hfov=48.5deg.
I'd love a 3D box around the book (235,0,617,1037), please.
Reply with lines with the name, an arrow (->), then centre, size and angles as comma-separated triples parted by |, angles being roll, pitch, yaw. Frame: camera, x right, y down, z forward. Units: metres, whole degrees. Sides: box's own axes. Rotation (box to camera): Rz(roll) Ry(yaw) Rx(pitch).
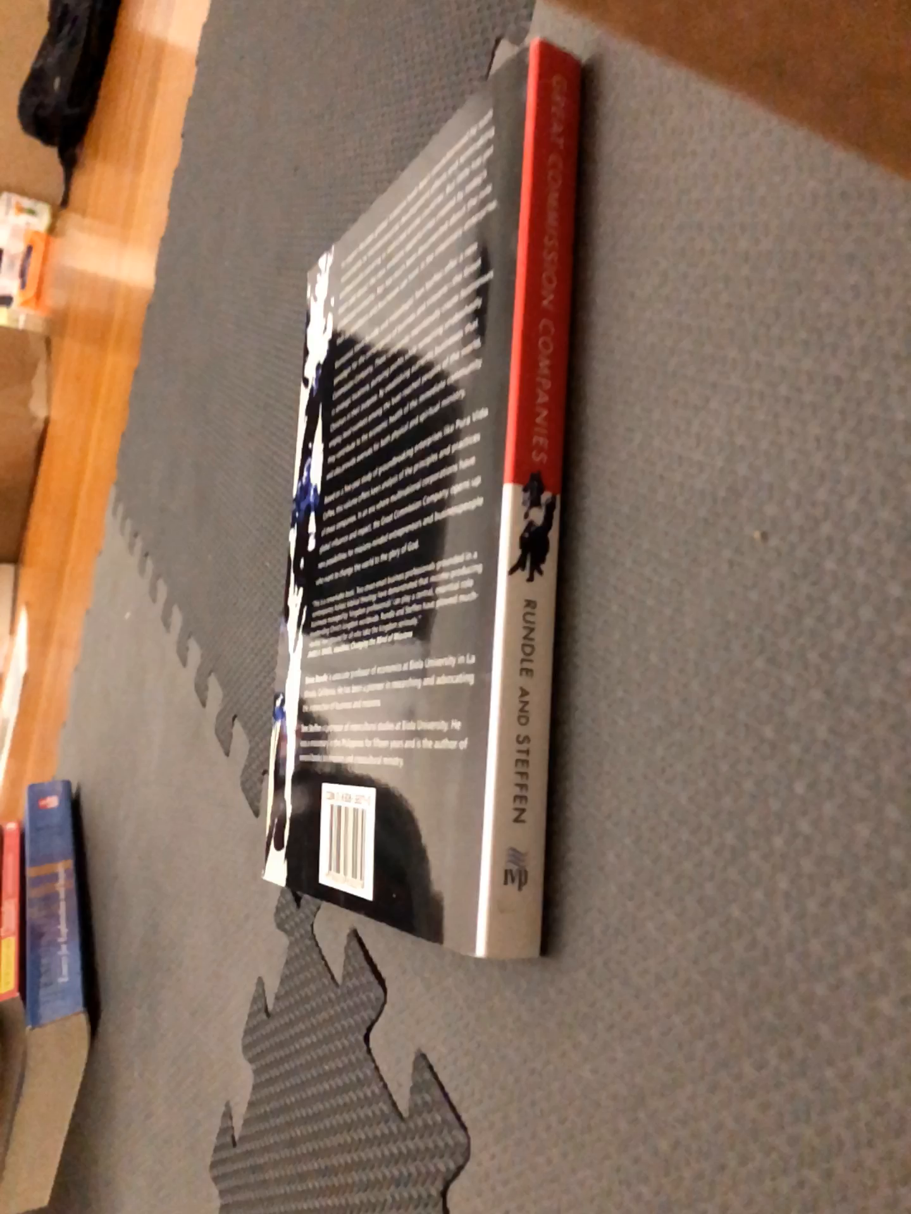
book -> -0.016, -0.024, 0.275 | 0.151, 0.020, 0.230 | -14, 68, 61

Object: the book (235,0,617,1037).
book -> -0.016, -0.024, 0.275 | 0.151, 0.020, 0.230 | -14, 68, 61
